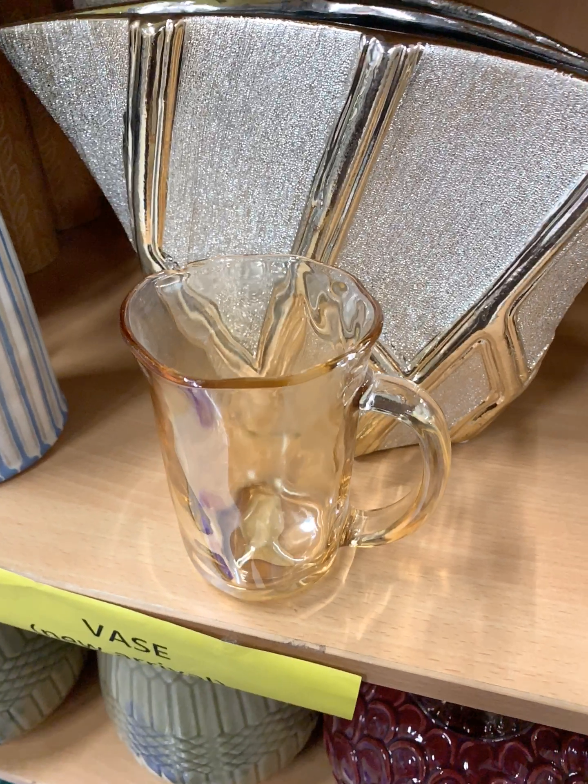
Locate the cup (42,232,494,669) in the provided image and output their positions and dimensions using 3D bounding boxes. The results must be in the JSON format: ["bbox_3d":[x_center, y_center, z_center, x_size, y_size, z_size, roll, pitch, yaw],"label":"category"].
[{"bbox_3d":[0.000,0.015,0.206,0.110,0.100,0.080,10,39,14],"label":"cup"}]
